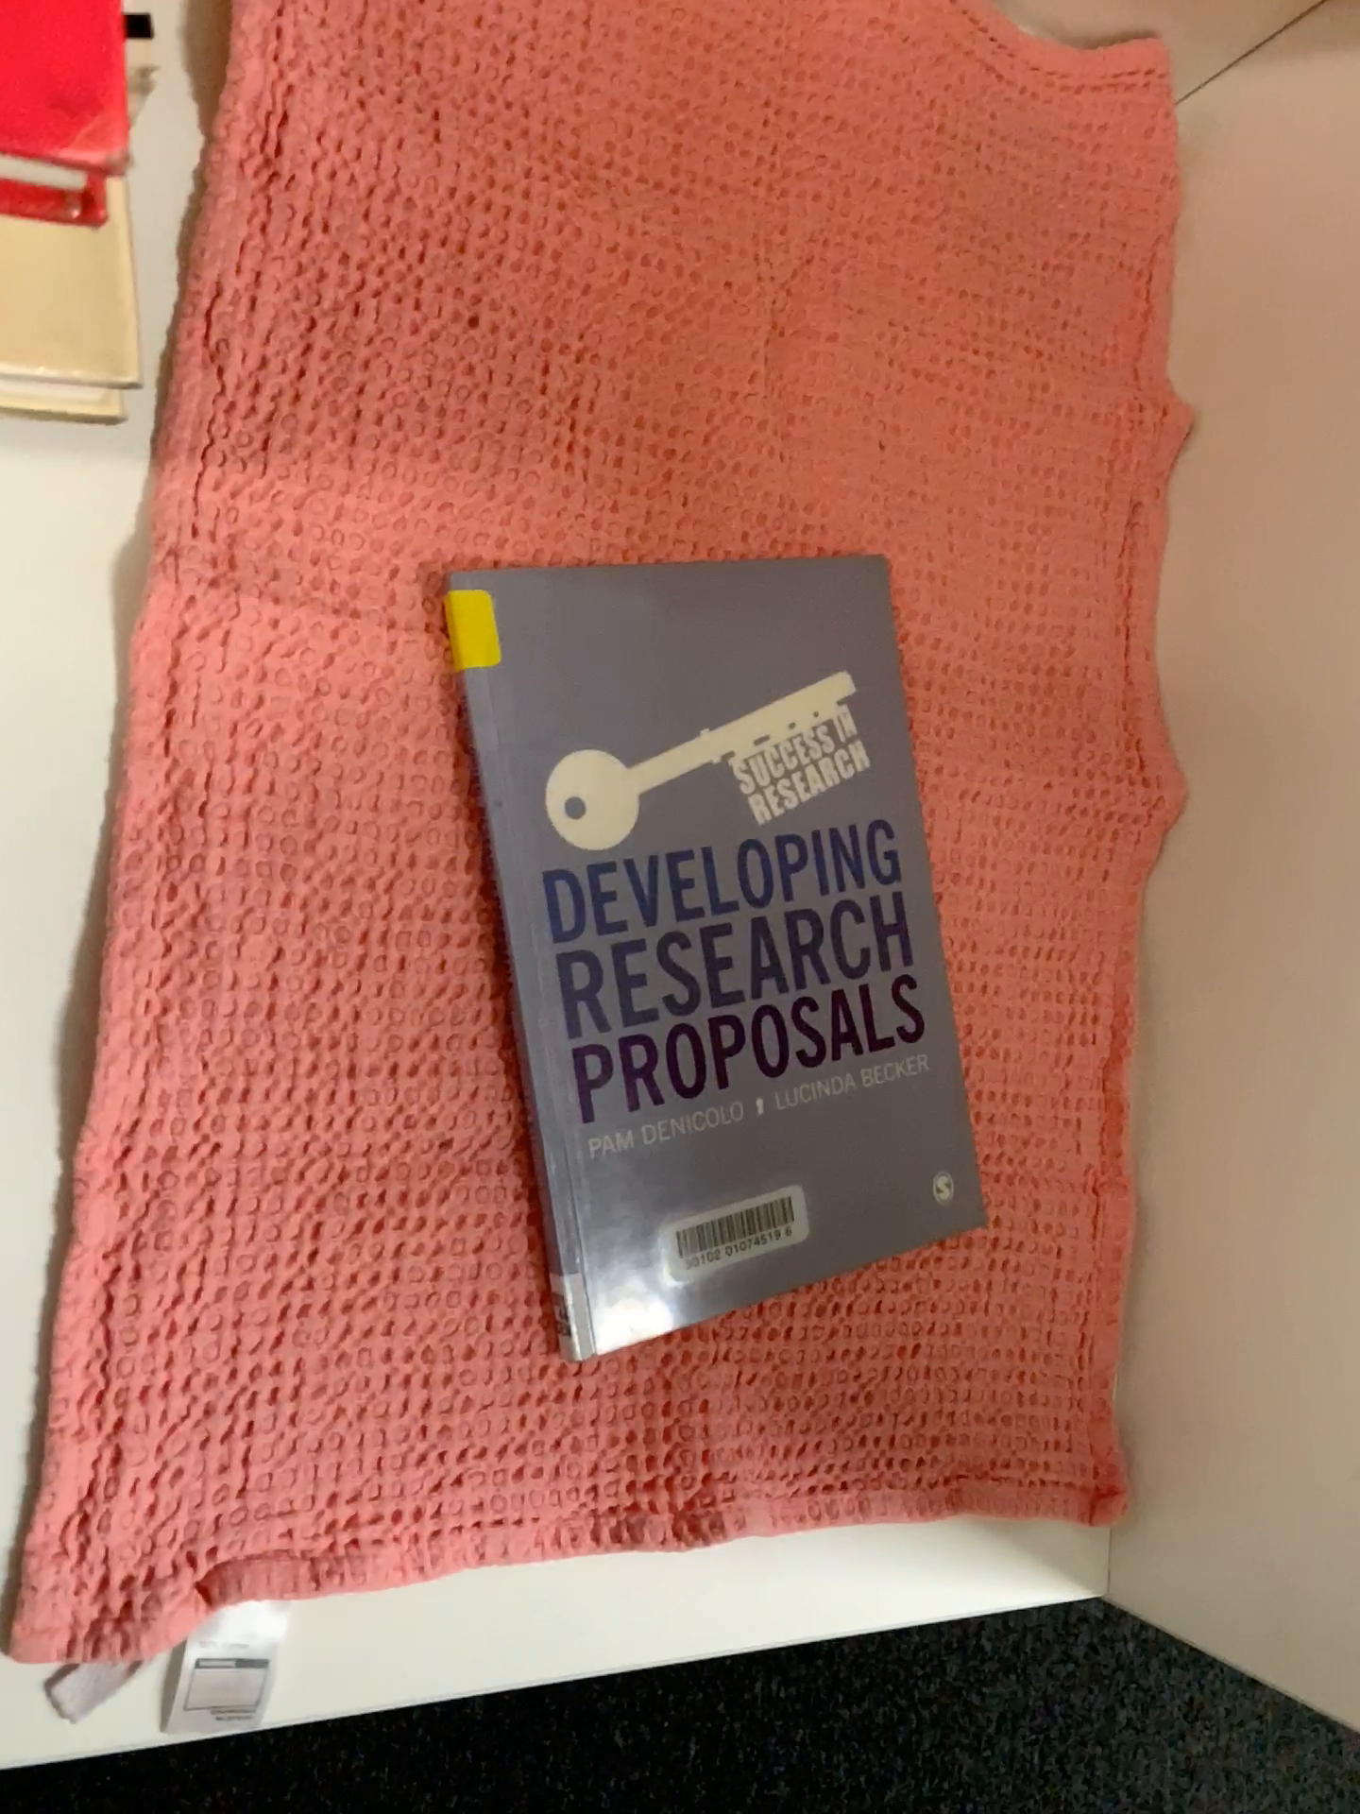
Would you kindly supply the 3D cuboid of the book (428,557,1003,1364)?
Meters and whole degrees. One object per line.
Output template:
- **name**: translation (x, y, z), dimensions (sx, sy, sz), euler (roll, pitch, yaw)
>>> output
- **book**: translation (0.018, 0.006, 0.443), dimensions (0.166, 0.015, 0.230), euler (-9, 91, -28)
